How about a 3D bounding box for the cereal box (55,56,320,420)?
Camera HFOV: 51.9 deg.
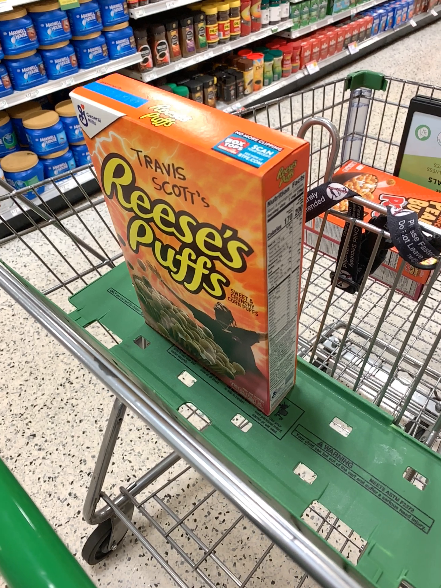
[{"bbox_3d":[-0.023,-0.037,0.405,0.211,0.277,0.050,33,58,32],"label":"cereal box"}]
